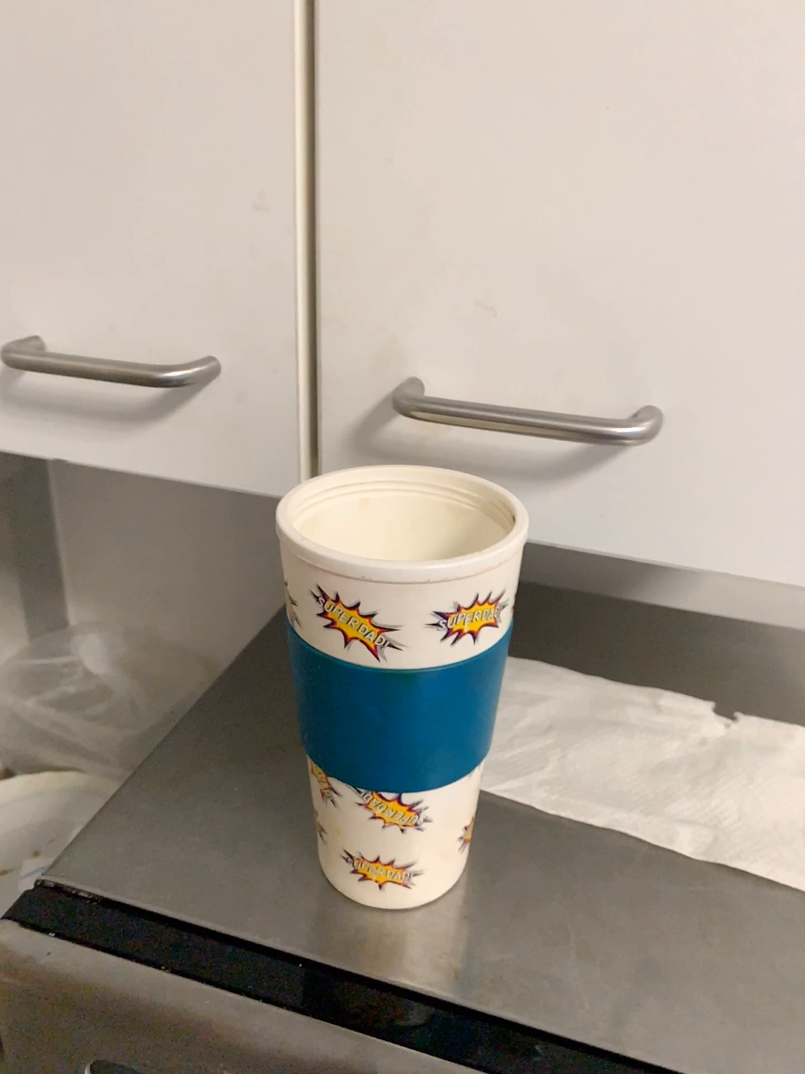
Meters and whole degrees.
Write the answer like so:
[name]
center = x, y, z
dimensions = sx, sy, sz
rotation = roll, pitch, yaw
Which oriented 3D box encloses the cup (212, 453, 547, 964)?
[cup]
center = -0.004, 0.057, 0.318
dimensions = 0.093, 0.146, 0.097
rotation = 2, 23, -1
